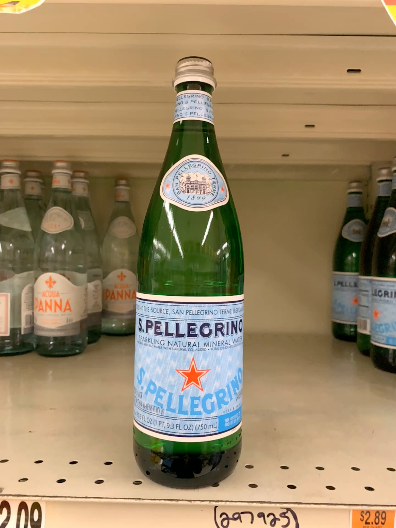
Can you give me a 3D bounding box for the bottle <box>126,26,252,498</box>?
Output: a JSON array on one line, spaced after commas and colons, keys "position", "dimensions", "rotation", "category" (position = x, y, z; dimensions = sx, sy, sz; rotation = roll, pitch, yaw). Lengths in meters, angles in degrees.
[{"position": [-0.003, -0.001, 0.299], "dimensions": [0.078, 0.302, 0.065], "rotation": [1, 2, 8], "category": "bottle"}]
